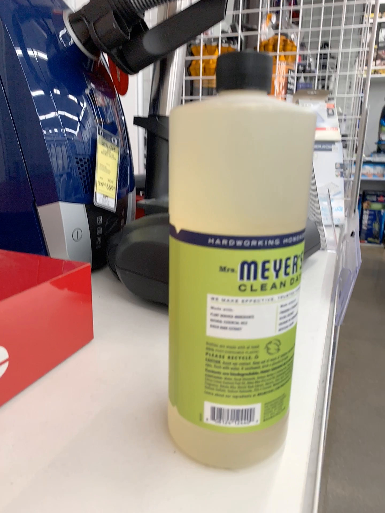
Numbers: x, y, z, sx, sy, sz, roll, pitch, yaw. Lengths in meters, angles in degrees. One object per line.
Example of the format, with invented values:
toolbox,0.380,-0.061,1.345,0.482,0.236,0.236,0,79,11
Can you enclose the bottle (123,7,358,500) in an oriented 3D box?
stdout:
bottle,0.020,0.001,0.246,0.090,0.239,0.090,1,15,0
